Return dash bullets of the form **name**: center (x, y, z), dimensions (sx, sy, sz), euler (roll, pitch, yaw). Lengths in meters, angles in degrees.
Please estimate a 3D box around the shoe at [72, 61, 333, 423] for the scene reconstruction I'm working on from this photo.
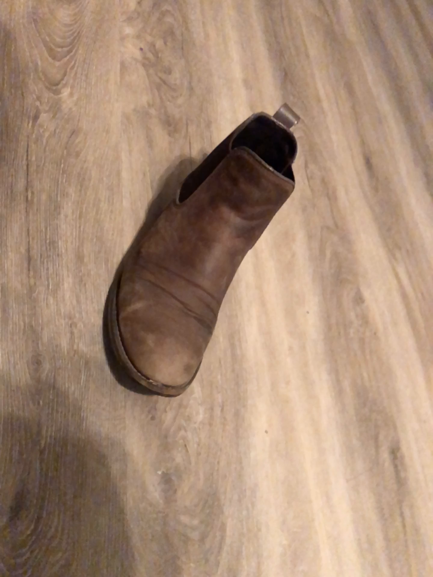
- **shoe**: center (0.000, -0.040, 0.386), dimensions (0.100, 0.139, 0.241), euler (32, 49, -21)
